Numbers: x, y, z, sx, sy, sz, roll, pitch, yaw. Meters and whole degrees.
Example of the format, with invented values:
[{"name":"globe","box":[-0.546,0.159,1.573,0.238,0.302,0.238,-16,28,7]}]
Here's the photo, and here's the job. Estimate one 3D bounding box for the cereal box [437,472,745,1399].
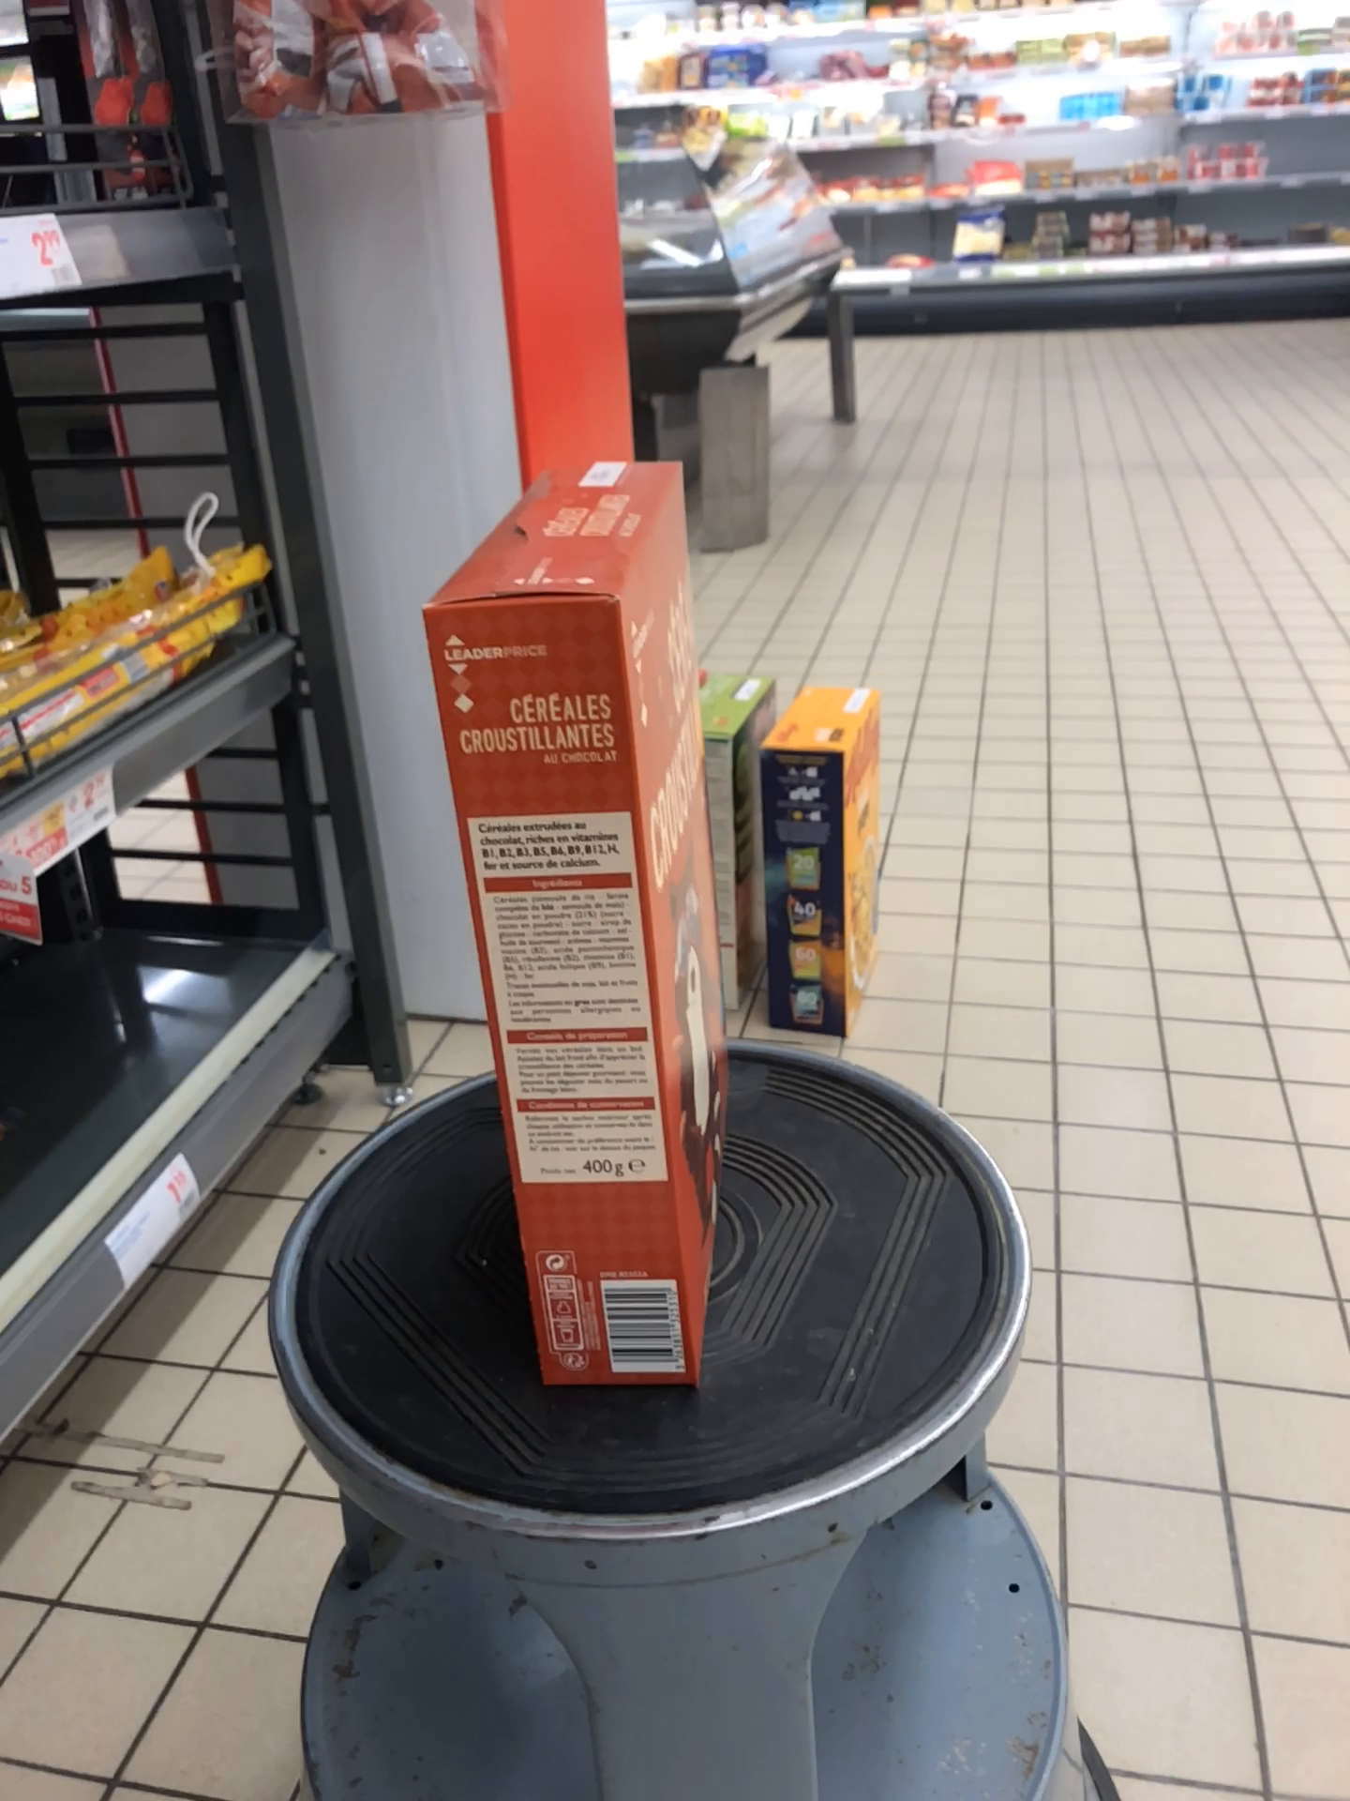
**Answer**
[{"name":"cereal box","box":[-0.015,0.003,0.512,0.060,0.259,0.191,-1,25,6]}]
